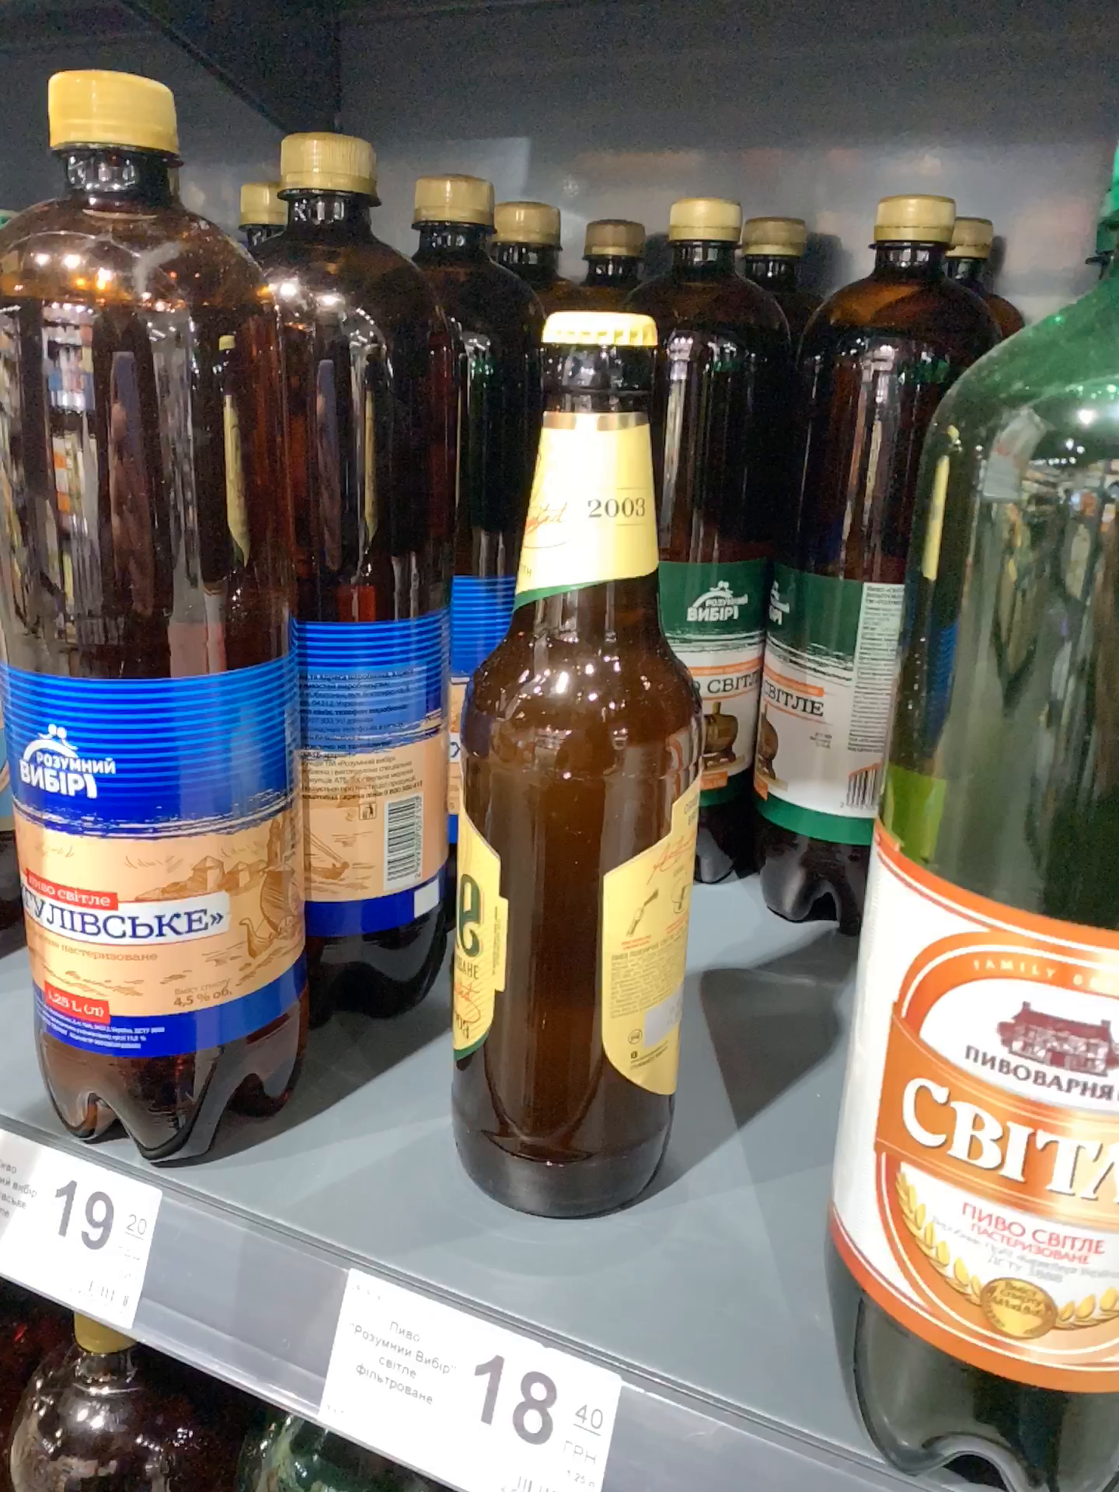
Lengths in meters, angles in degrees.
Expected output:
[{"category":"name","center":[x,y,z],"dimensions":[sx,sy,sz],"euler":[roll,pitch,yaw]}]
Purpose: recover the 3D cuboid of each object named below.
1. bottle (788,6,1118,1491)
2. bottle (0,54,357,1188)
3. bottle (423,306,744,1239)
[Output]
[{"category":"bottle","center":[0.109,0.022,0.235],"dimensions":[0.084,0.278,0.070],"euler":[10,20,23]},{"category":"bottle","center":[-0.115,-0.025,0.328],"dimensions":[0.084,0.284,0.070],"euler":[7,19,15]},{"category":"bottle","center":[0.006,0.009,0.330],"dimensions":[0.070,0.248,0.069],"euler":[2,18,-1]}]
